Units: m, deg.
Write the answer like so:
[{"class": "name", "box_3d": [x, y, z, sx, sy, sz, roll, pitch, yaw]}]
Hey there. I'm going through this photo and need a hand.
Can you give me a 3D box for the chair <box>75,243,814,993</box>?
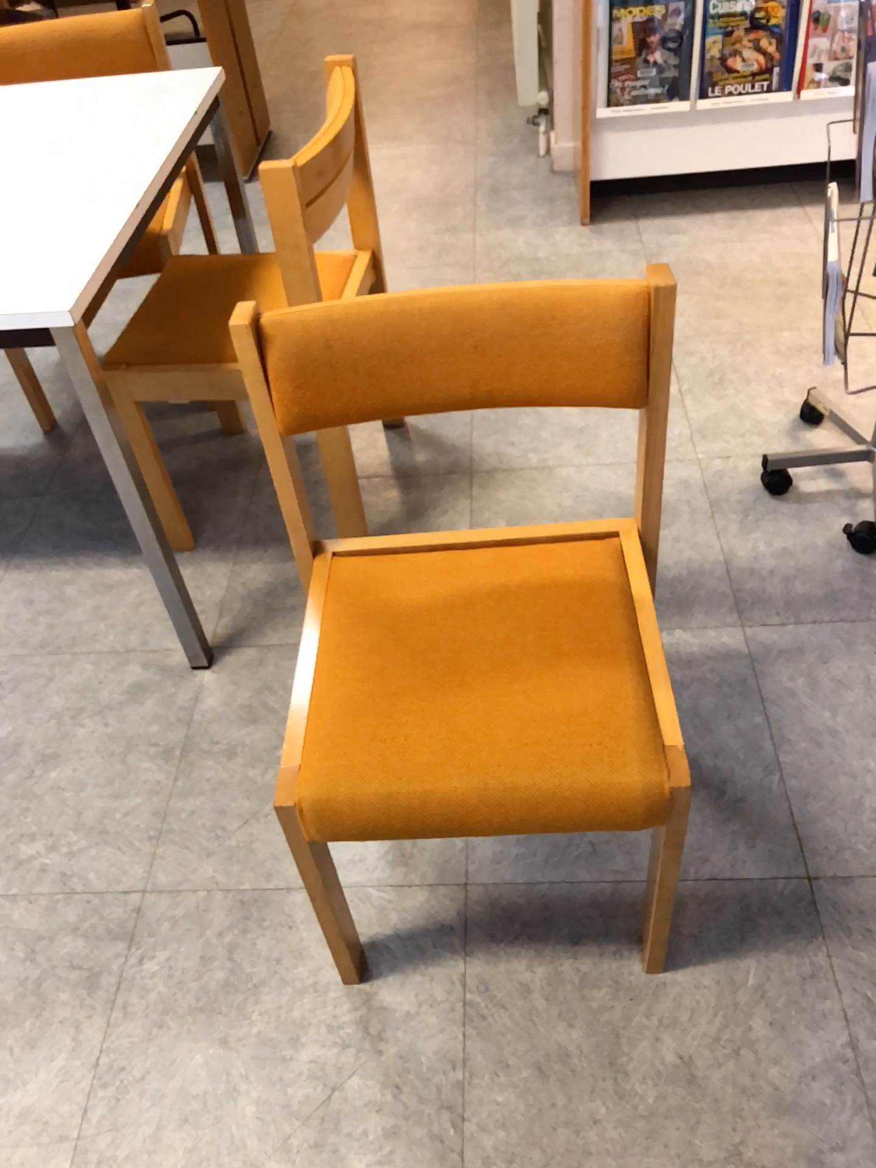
[{"class": "chair", "box_3d": [0.036, 0.069, 1.138, 0.550, 0.696, 0.523, -3, 44, 5]}]
